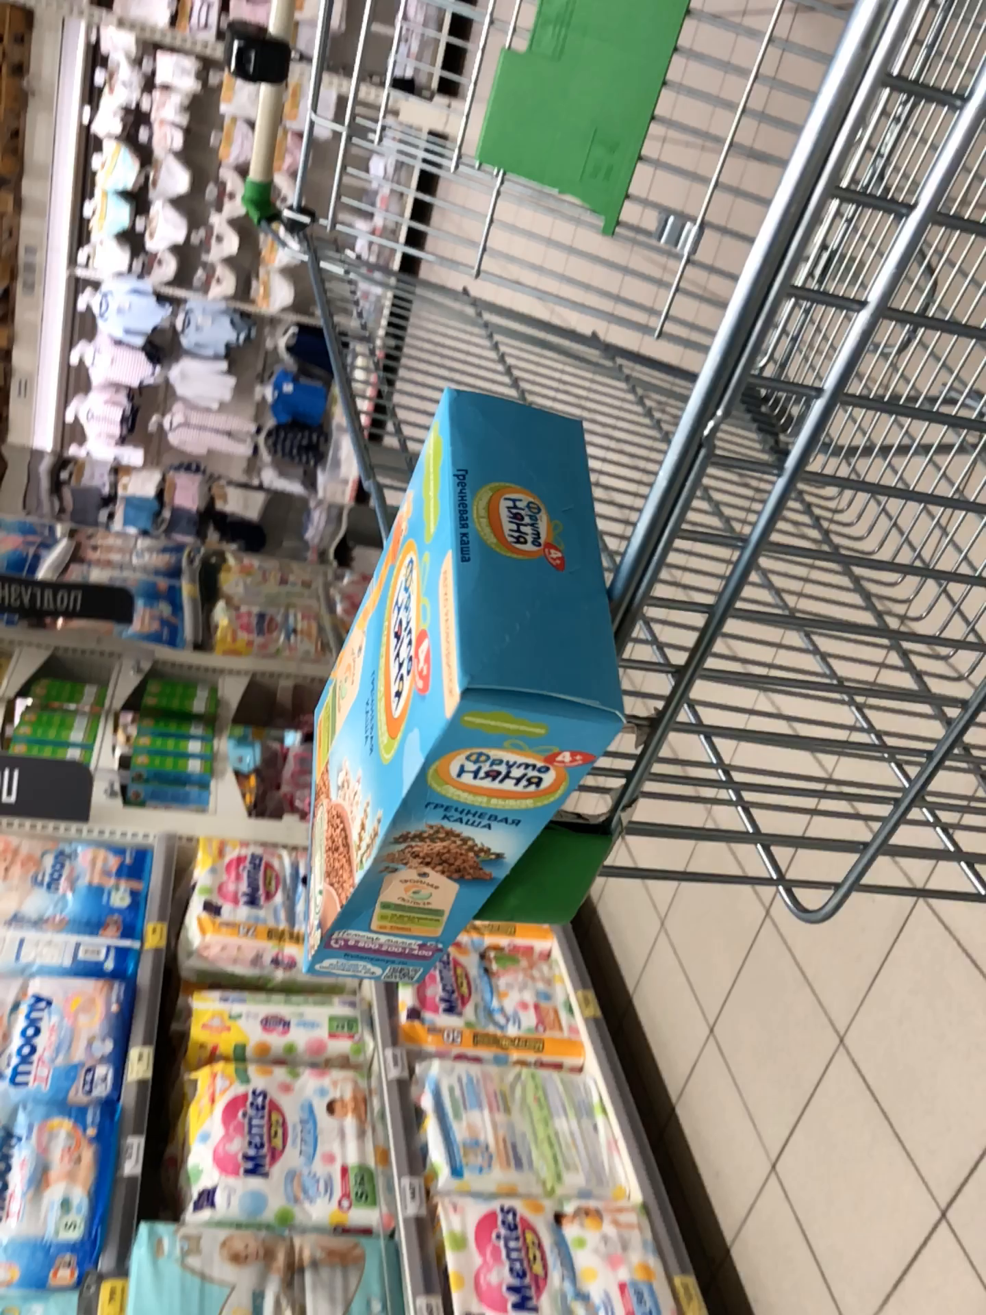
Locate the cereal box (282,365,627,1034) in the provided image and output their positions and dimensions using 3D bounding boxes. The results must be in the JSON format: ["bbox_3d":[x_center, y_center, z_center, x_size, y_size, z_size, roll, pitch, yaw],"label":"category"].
[{"bbox_3d":[-0.028,0.028,0.400,0.211,0.050,0.150,120,153,-48],"label":"cereal box"}]
